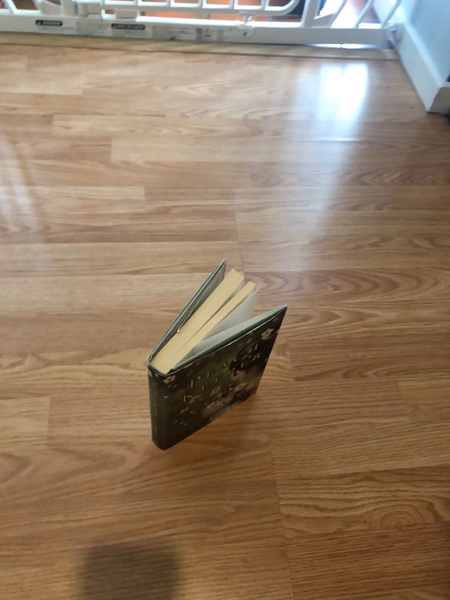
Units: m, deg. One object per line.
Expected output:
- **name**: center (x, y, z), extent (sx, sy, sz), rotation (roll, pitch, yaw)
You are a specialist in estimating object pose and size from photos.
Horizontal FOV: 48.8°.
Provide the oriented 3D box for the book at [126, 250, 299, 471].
- **book**: center (-0.021, 0.077, 0.550), extent (0.080, 0.220, 0.150), rotation (40, 60, 17)
